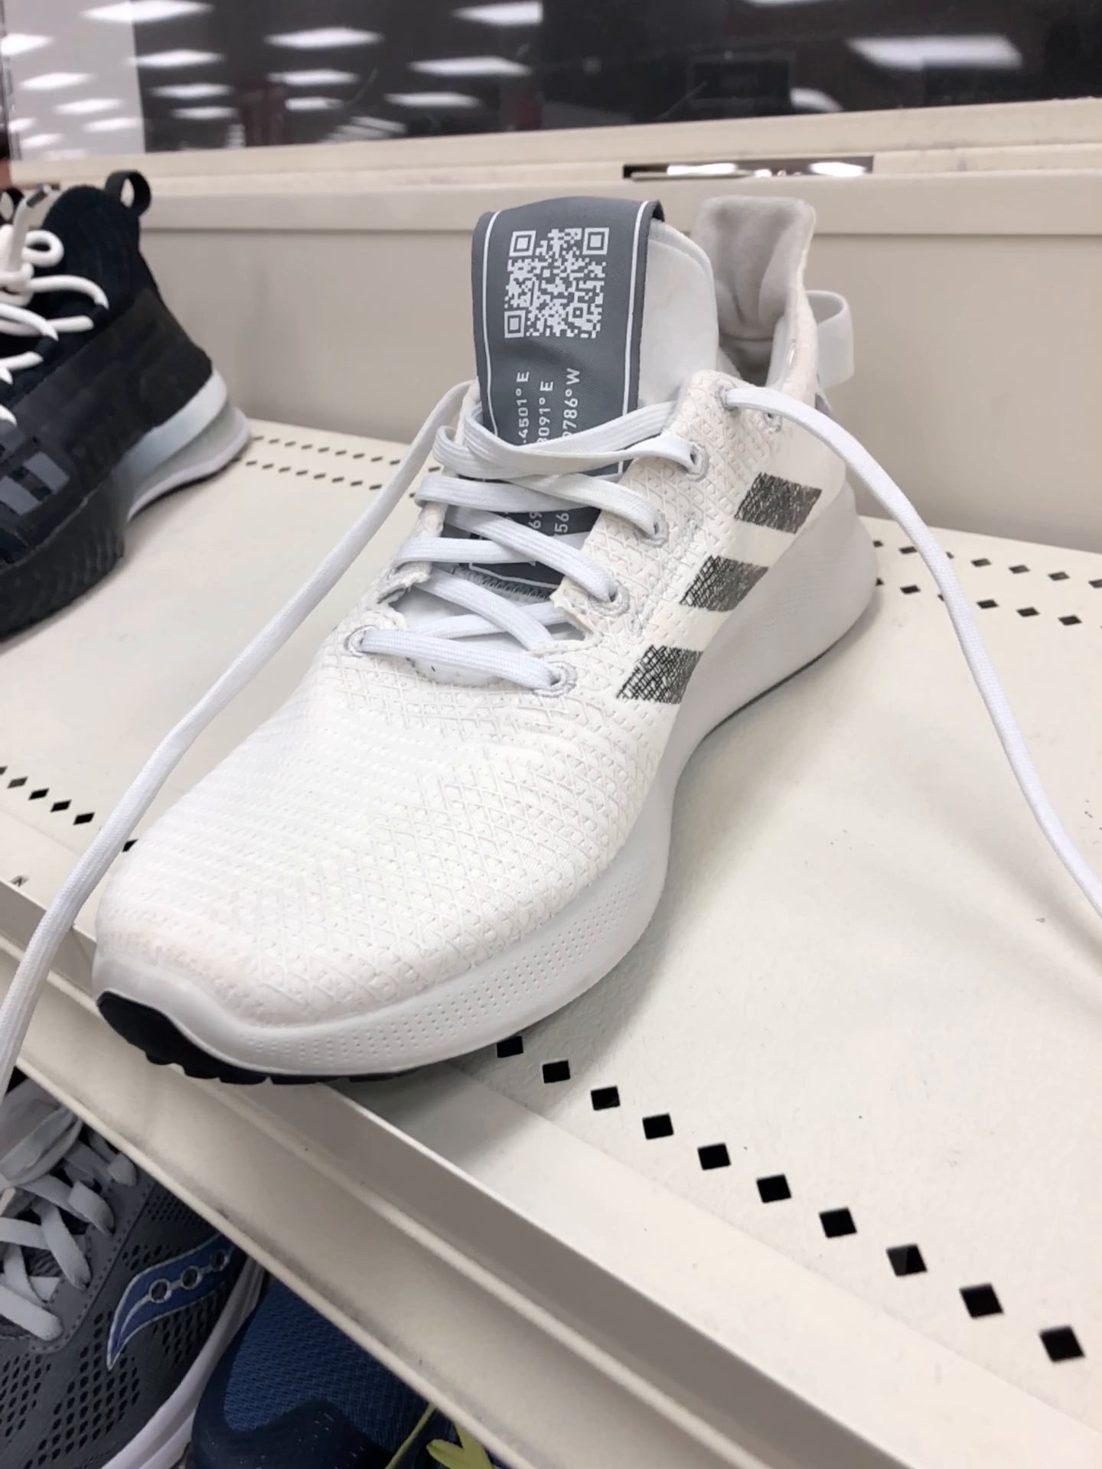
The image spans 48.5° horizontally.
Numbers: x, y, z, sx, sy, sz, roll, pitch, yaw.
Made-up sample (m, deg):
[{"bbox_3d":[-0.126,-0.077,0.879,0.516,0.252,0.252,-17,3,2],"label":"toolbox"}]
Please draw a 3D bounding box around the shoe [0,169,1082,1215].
[{"bbox_3d":[0.021,-0.074,0.330,0.128,0.139,0.382,14,28,31],"label":"shoe"}]
